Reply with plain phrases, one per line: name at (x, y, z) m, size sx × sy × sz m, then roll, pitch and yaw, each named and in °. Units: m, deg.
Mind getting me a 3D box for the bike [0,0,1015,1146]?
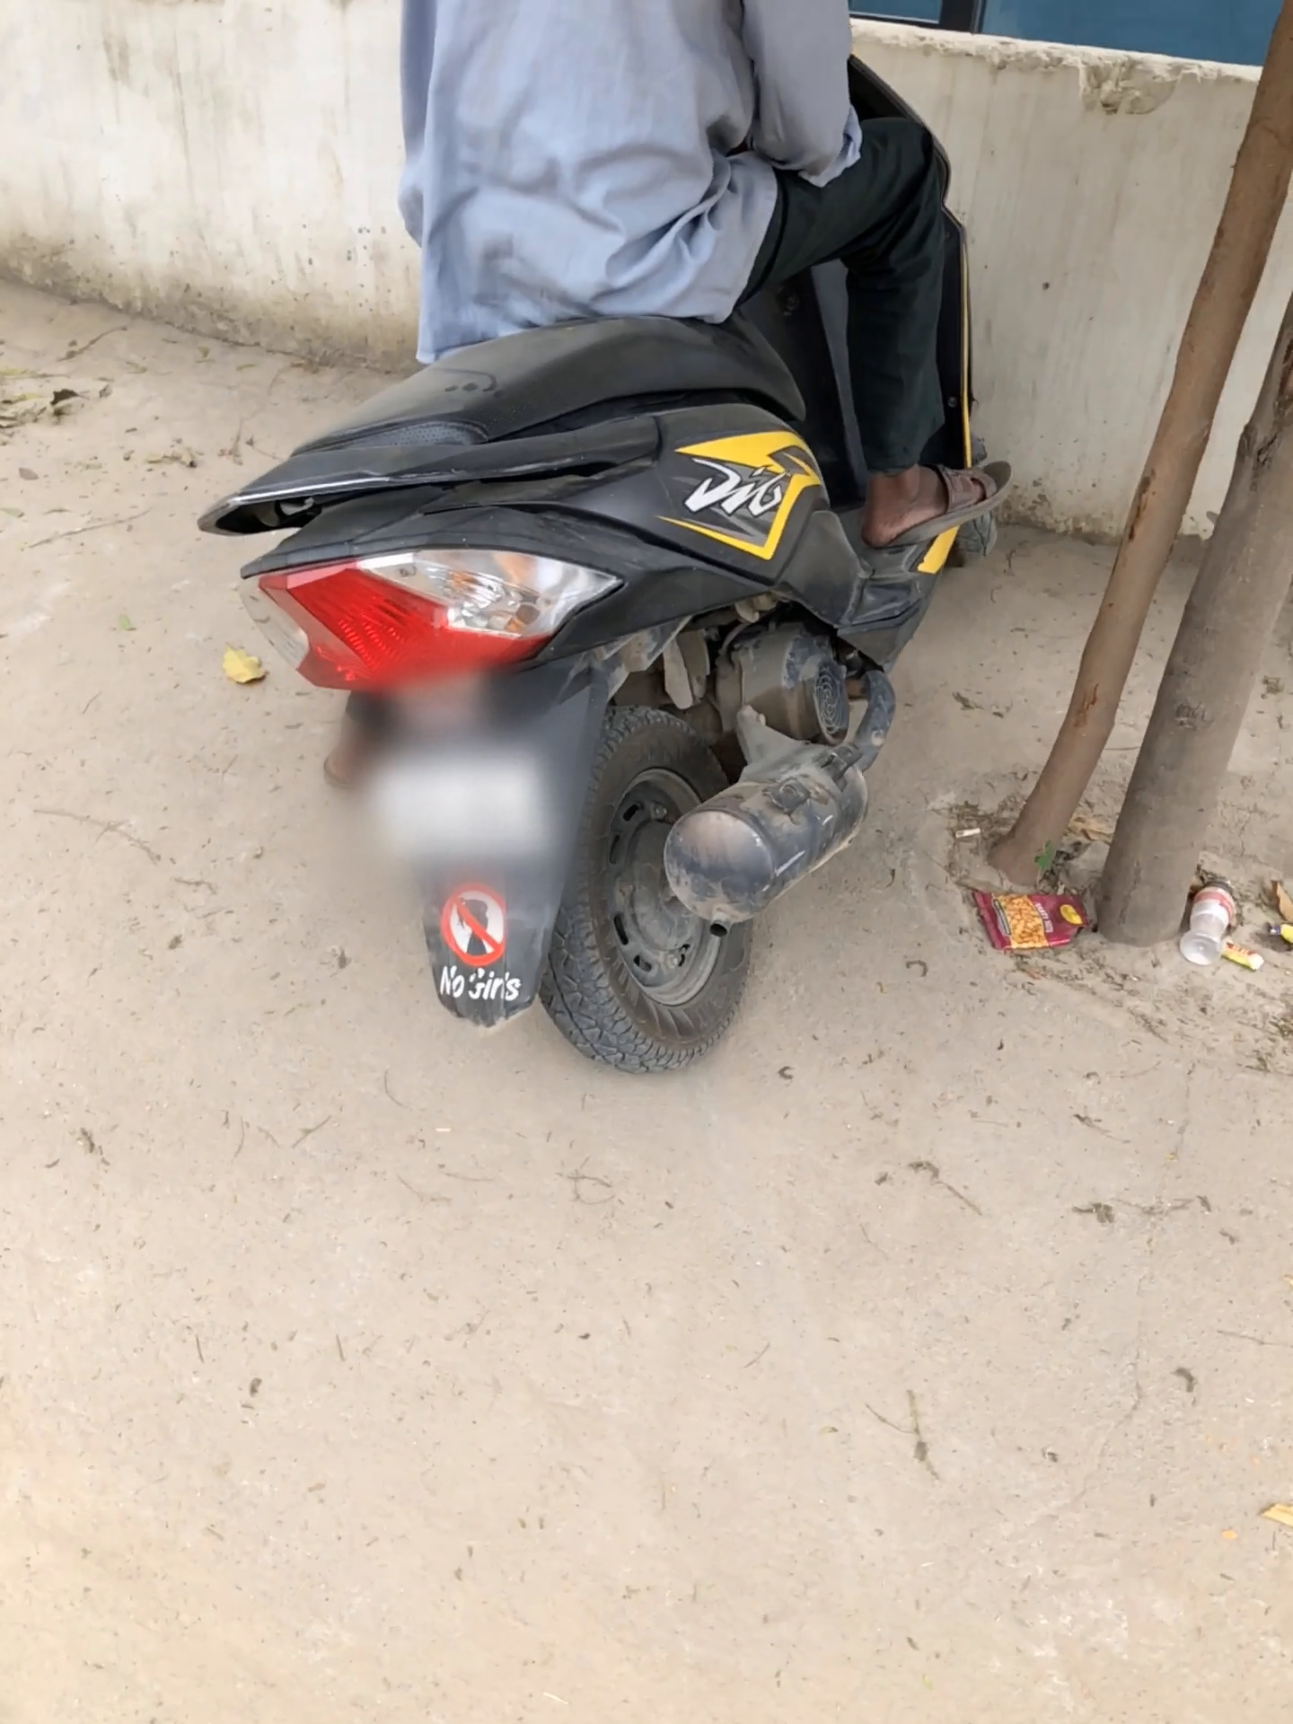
bike at (-0.033, -0.709, 1.850) m, size 0.633 × 1.144 × 1.582 m, roll 12°, pitch 39°, yaw 12°
